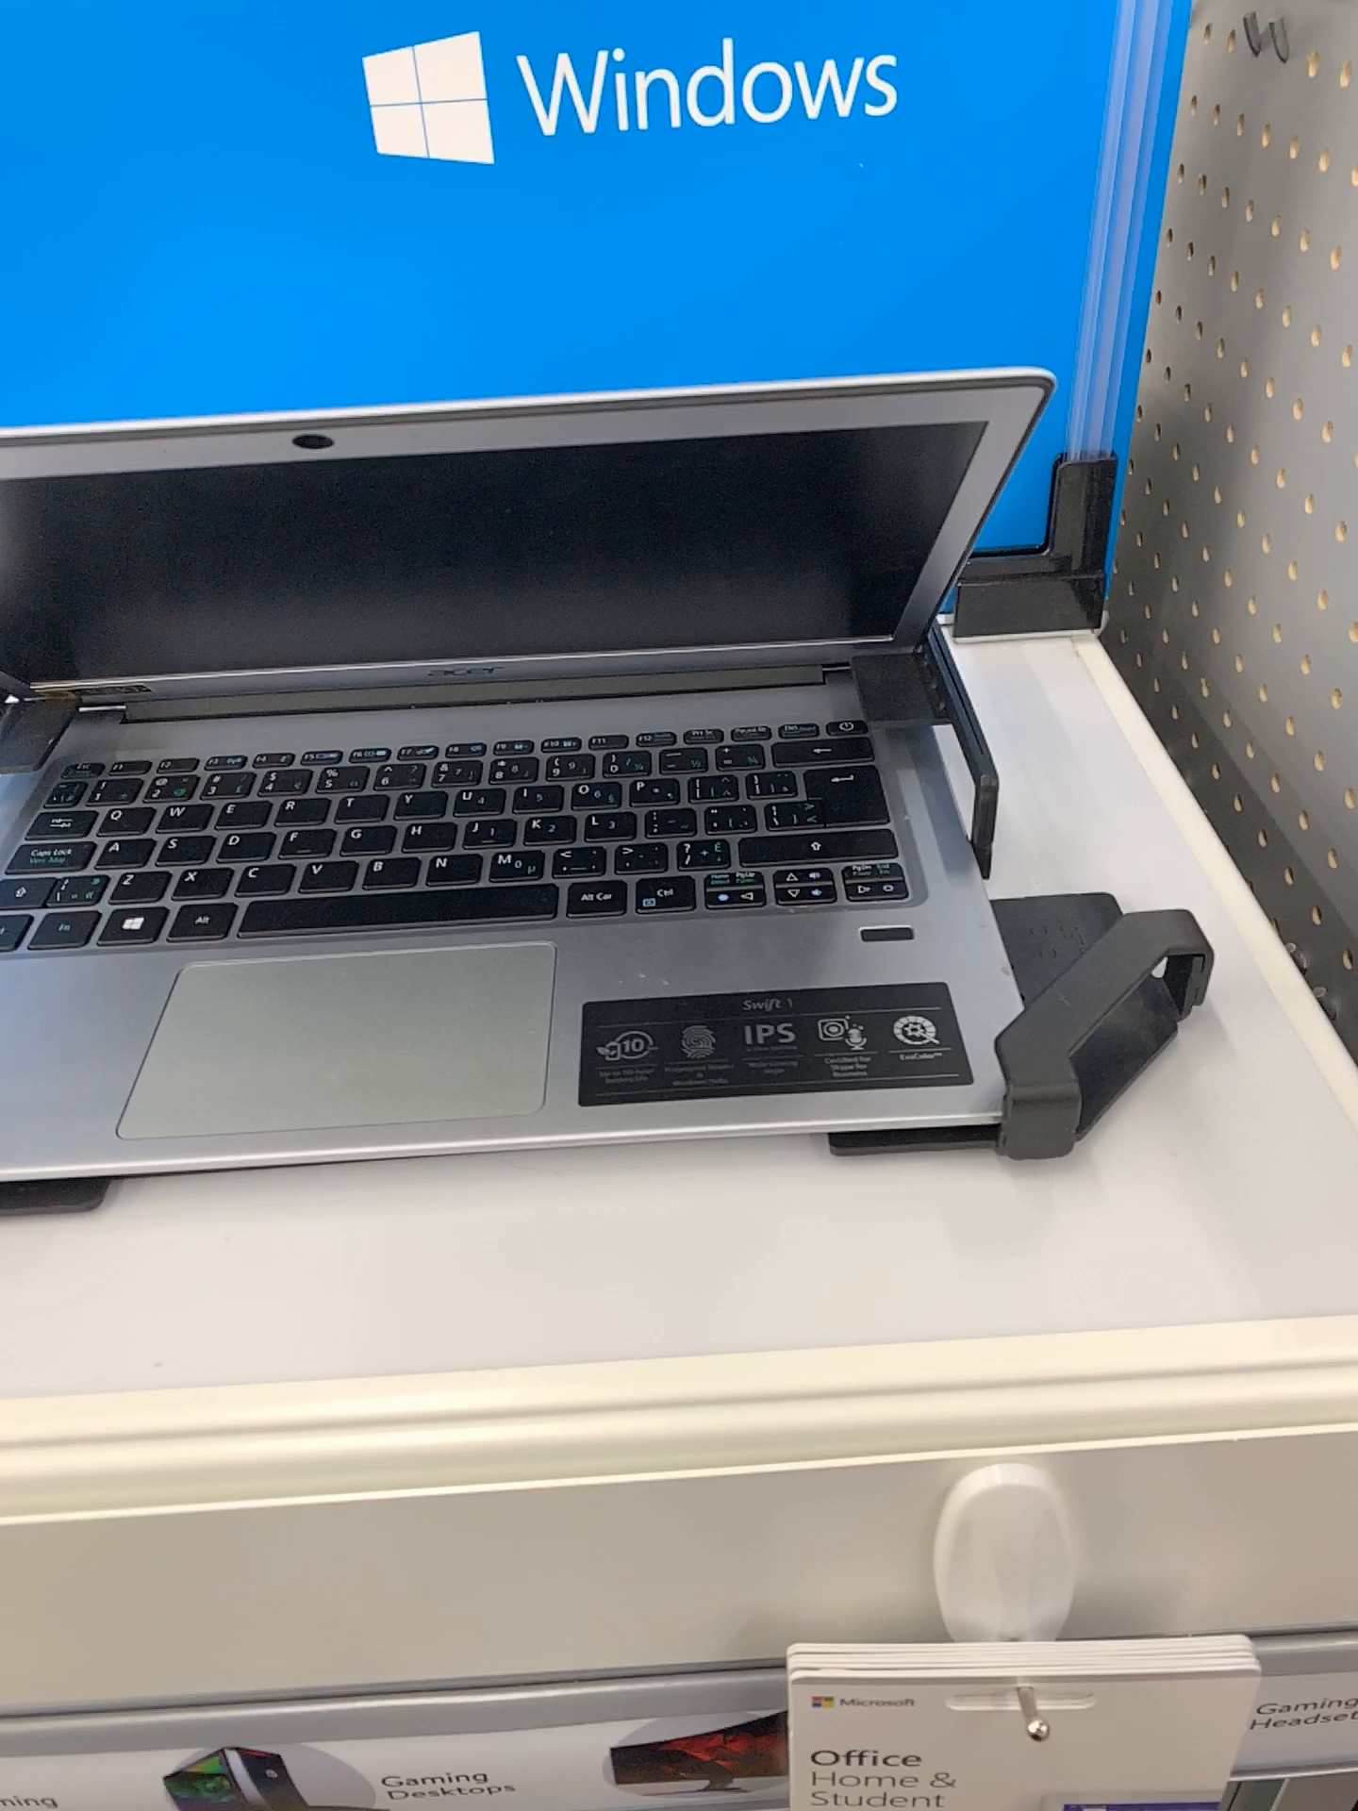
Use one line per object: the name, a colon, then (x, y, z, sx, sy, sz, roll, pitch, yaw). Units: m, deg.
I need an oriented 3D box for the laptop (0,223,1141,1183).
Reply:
laptop: (-0.073, -0.063, 0.361, 0.307, 0.140, 0.198, -3, 39, 1)
